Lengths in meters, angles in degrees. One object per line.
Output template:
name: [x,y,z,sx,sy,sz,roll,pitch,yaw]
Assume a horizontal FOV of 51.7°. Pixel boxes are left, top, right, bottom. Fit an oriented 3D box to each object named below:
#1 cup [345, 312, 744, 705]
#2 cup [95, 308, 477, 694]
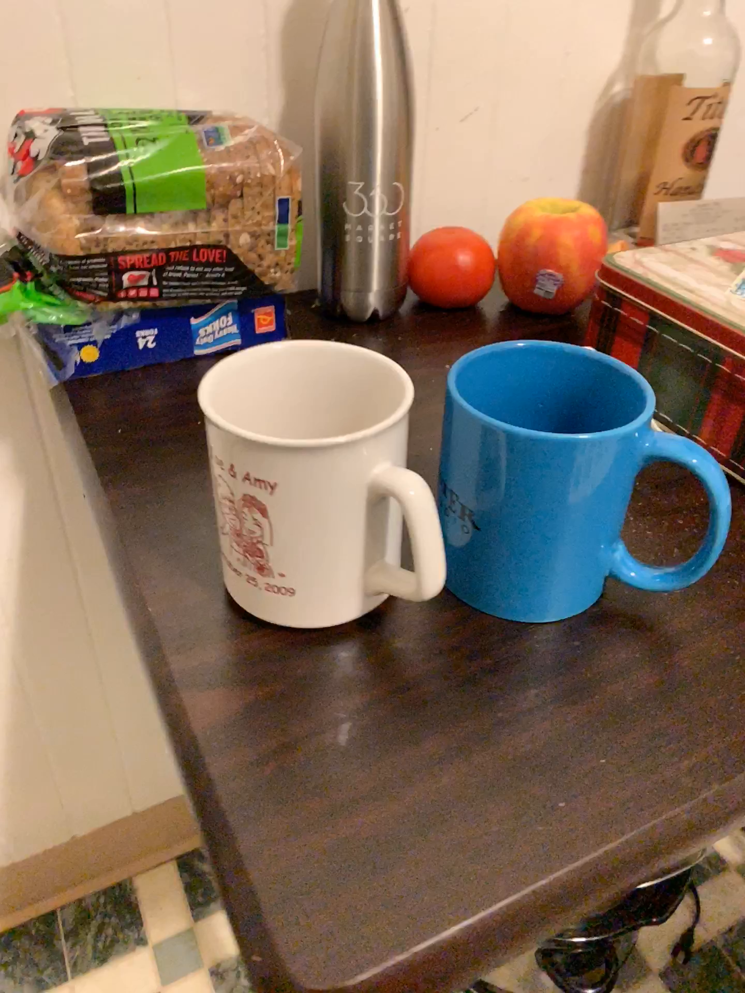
cup: [0.072,-0.003,0.336,0.140,0.099,0.090,21,40,24]
cup: [-0.036,-0.007,0.321,0.090,0.089,0.121,-29,46,-35]
